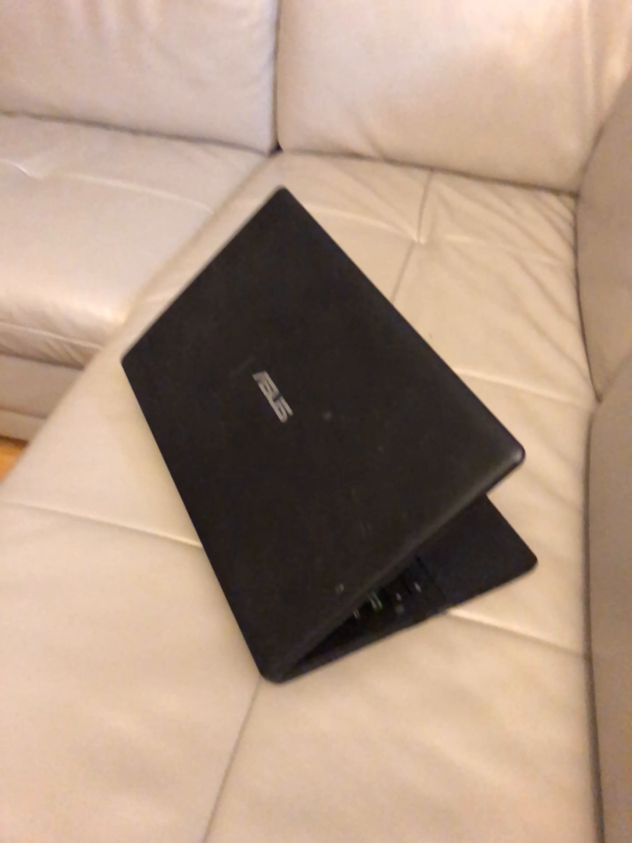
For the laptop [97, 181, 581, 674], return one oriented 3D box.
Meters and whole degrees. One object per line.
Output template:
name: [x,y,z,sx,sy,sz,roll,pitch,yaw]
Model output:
laptop: [-0.009,-0.032,0.597,0.241,0.155,0.372,-17,49,-20]
